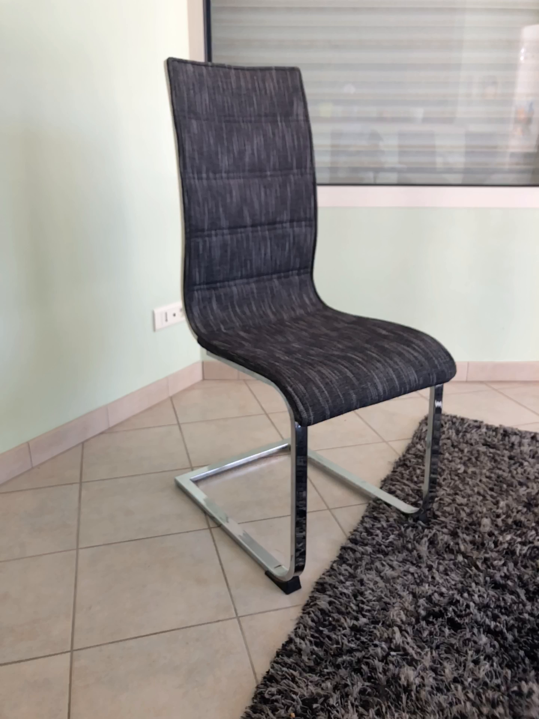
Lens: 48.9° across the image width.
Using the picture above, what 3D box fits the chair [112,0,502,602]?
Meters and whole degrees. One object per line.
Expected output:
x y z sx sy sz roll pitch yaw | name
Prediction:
0.045 -0.139 1.296 0.502 0.966 0.580 -13 22 -34 | chair
